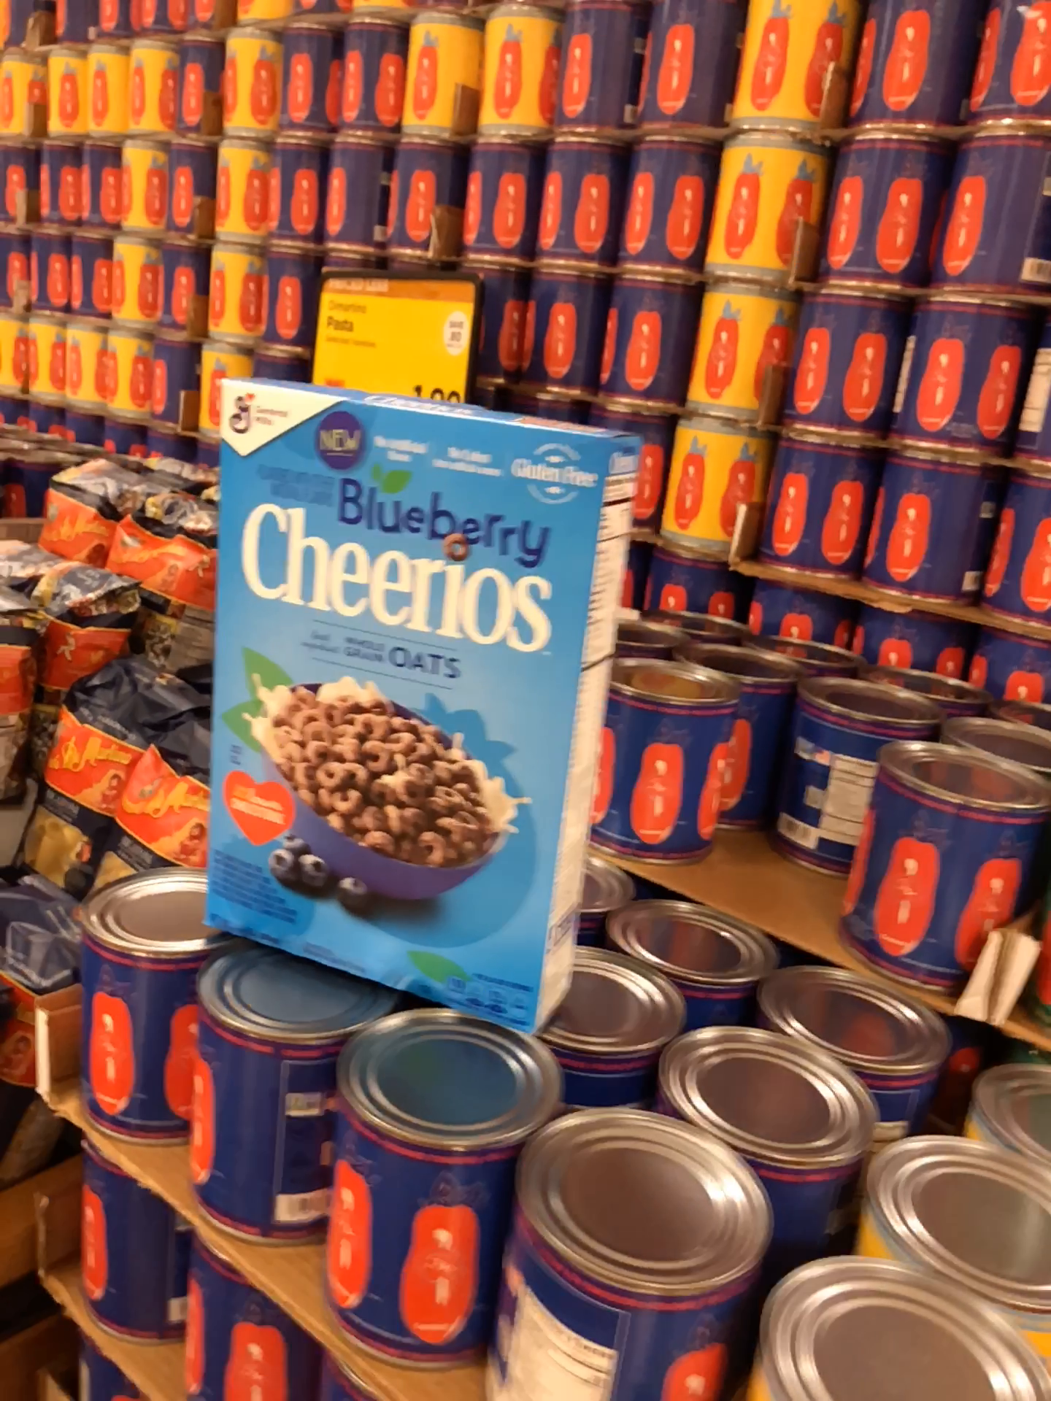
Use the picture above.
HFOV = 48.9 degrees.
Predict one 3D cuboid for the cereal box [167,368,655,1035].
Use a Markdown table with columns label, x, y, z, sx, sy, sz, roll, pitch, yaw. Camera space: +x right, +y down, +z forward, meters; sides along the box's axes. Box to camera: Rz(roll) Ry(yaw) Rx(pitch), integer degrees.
| label | x | y | z | sx | sy | sz | roll | pitch | yaw |
| --- | --- | --- | --- | --- | --- | --- | --- | --- | --- |
| cereal box | -0.066 | -0.005 | 0.565 | 0.210 | 0.279 | 0.060 | 13 | 18 | 19 |
